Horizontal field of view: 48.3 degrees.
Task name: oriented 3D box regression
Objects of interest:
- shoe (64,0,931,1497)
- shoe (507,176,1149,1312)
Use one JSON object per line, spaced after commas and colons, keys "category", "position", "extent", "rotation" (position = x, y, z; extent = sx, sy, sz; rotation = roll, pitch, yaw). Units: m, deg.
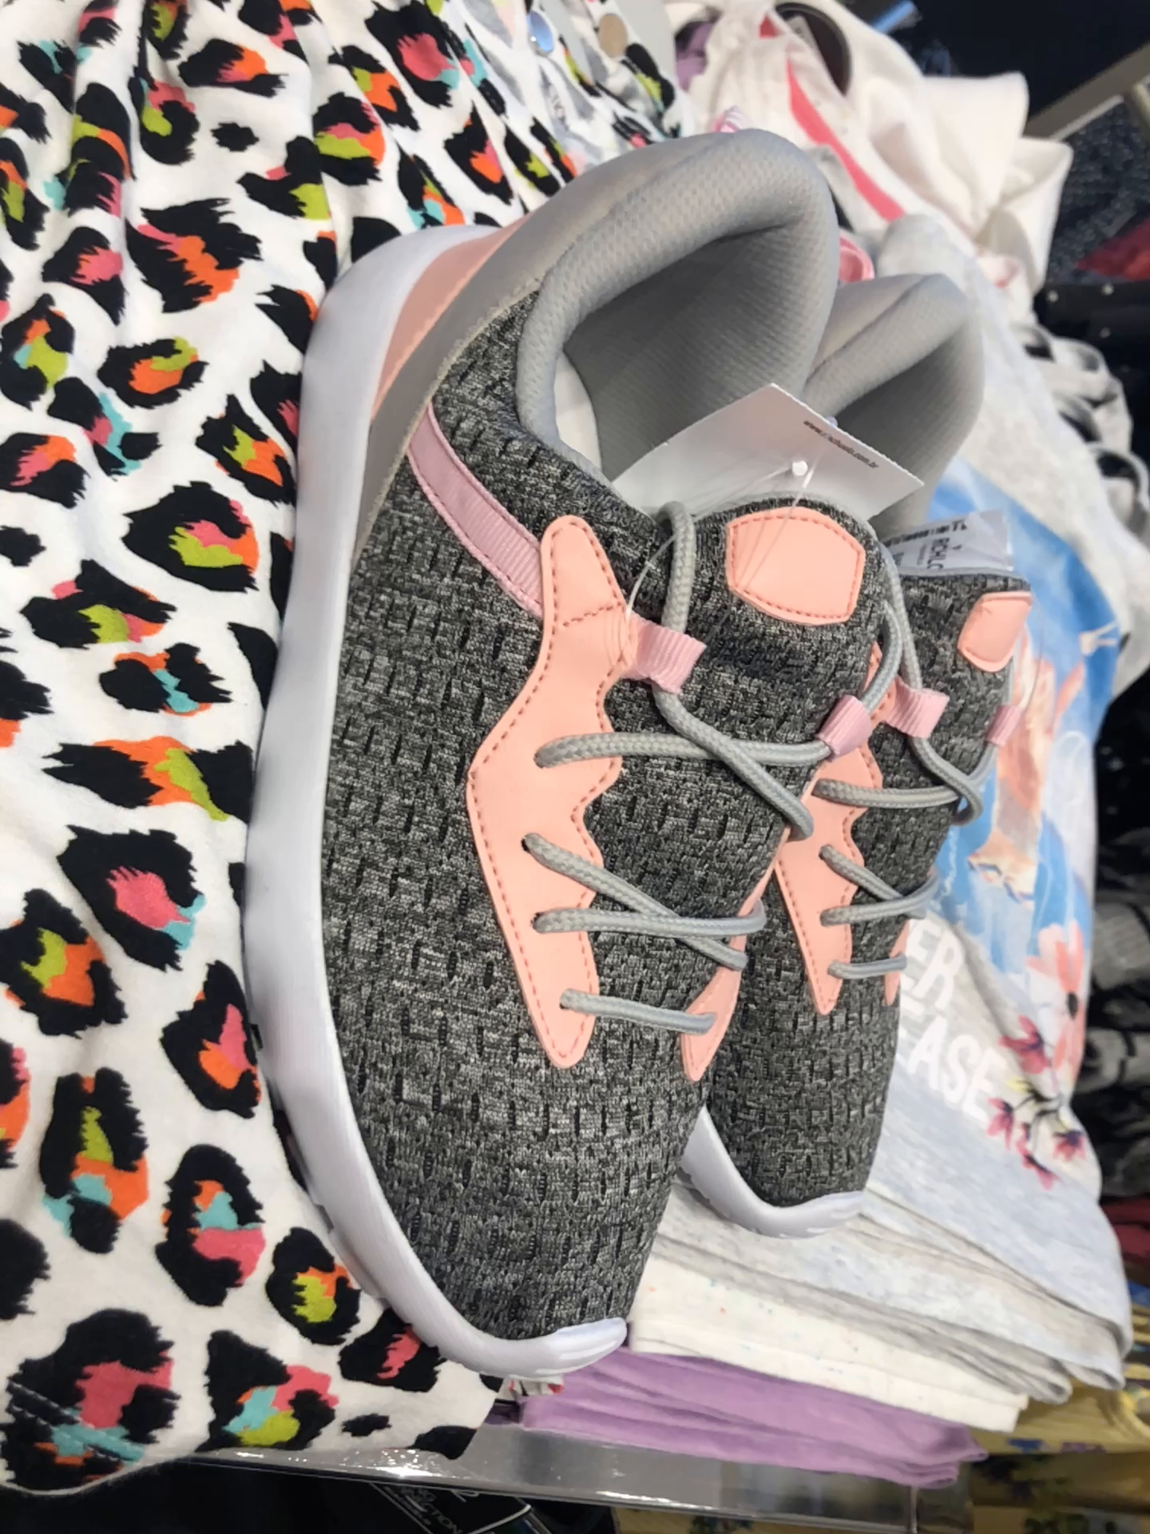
{"category": "shoe", "position": [-0.013, -0.010, 0.236], "extent": [0.101, 0.099, 0.220], "rotation": [13, 71, -44]}
{"category": "shoe", "position": [0.058, 0.001, 0.301], "extent": [0.101, 0.099, 0.210], "rotation": [10, 73, -45]}
